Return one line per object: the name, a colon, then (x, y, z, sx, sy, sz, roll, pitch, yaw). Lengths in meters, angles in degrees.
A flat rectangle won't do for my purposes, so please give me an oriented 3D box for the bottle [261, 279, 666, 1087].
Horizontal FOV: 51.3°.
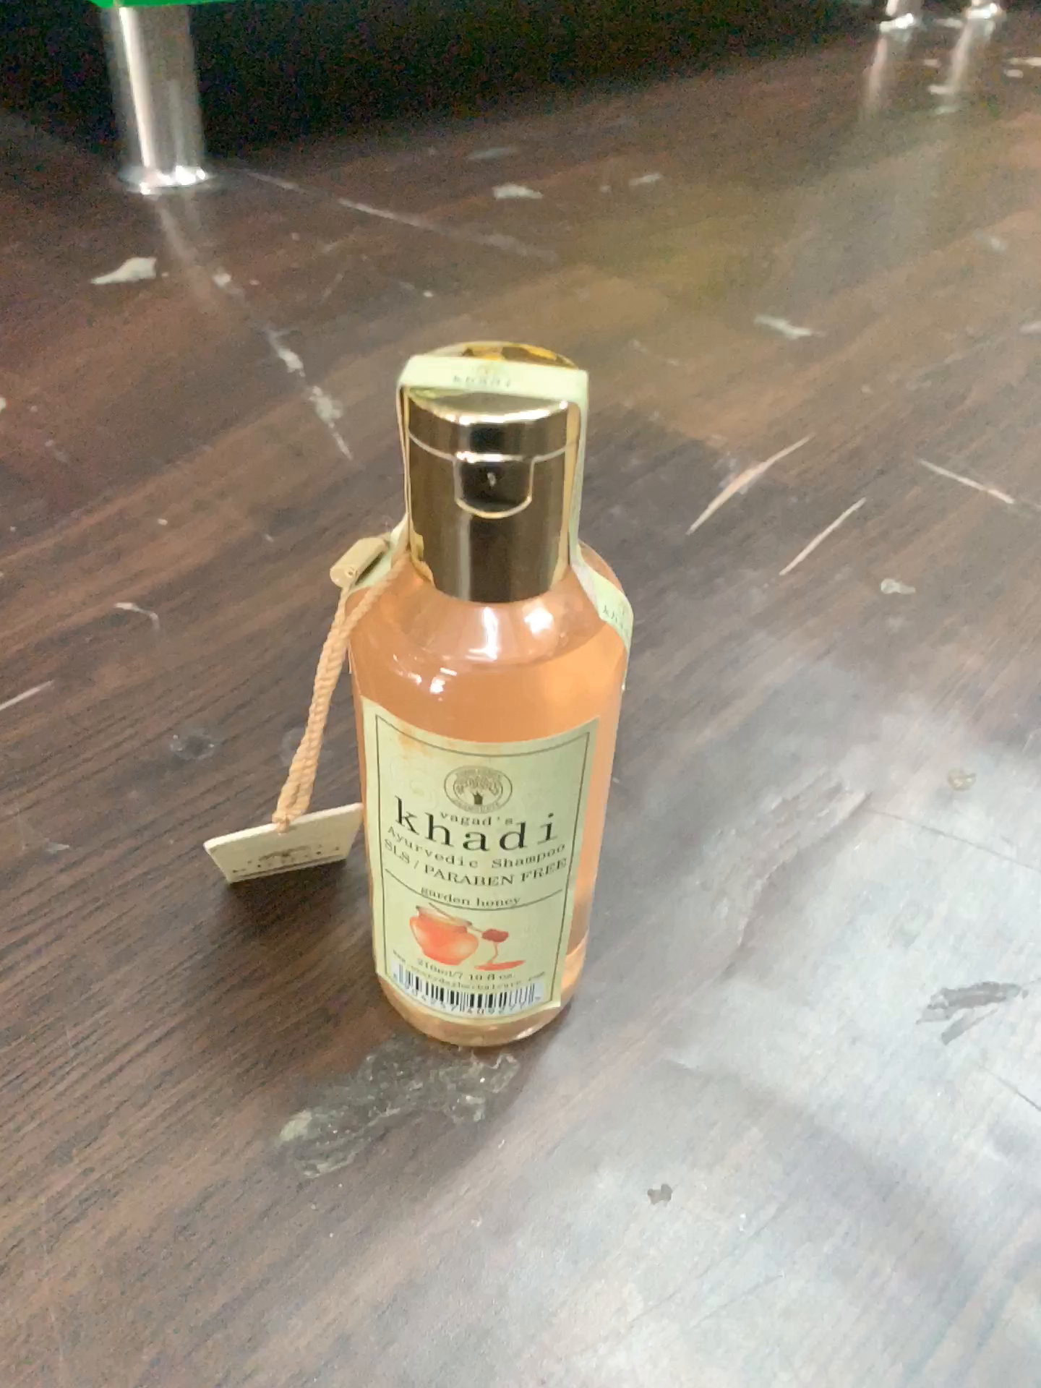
bottle: (-0.009, 0.009, 0.201, 0.050, 0.149, 0.050, 2, 42, -2)
